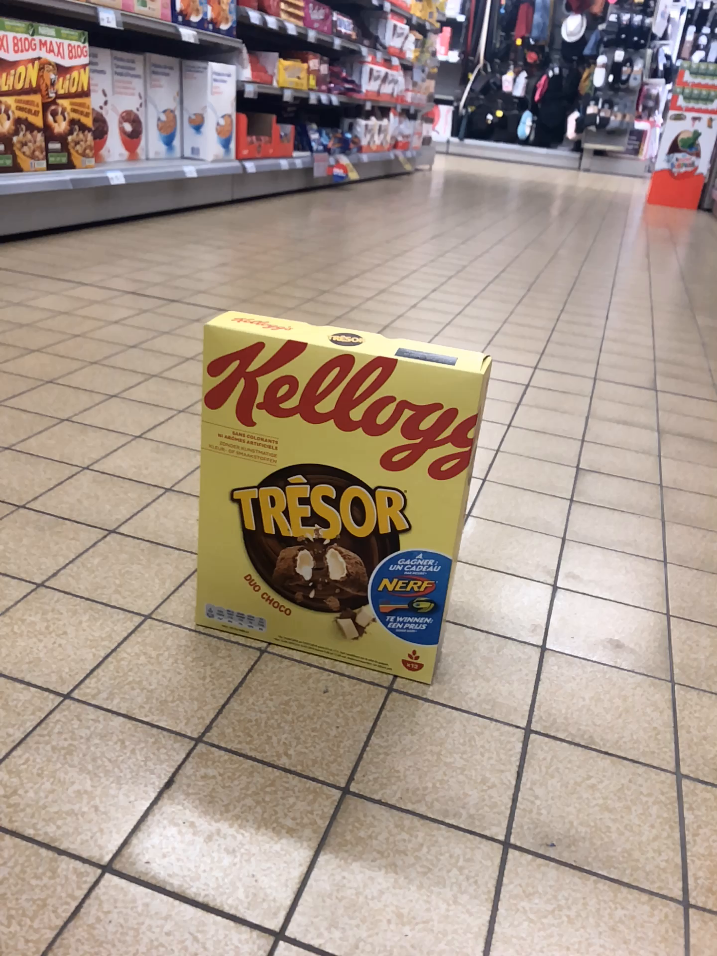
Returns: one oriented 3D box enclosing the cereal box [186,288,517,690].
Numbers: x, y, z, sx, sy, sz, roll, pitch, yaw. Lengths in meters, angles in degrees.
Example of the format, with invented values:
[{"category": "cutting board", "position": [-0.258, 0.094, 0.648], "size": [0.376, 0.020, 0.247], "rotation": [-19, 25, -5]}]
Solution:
[{"category": "cereal box", "position": [-0.014, 0.008, 0.551], "size": [0.200, 0.239, 0.060], "rotation": [12, 25, 12]}]
